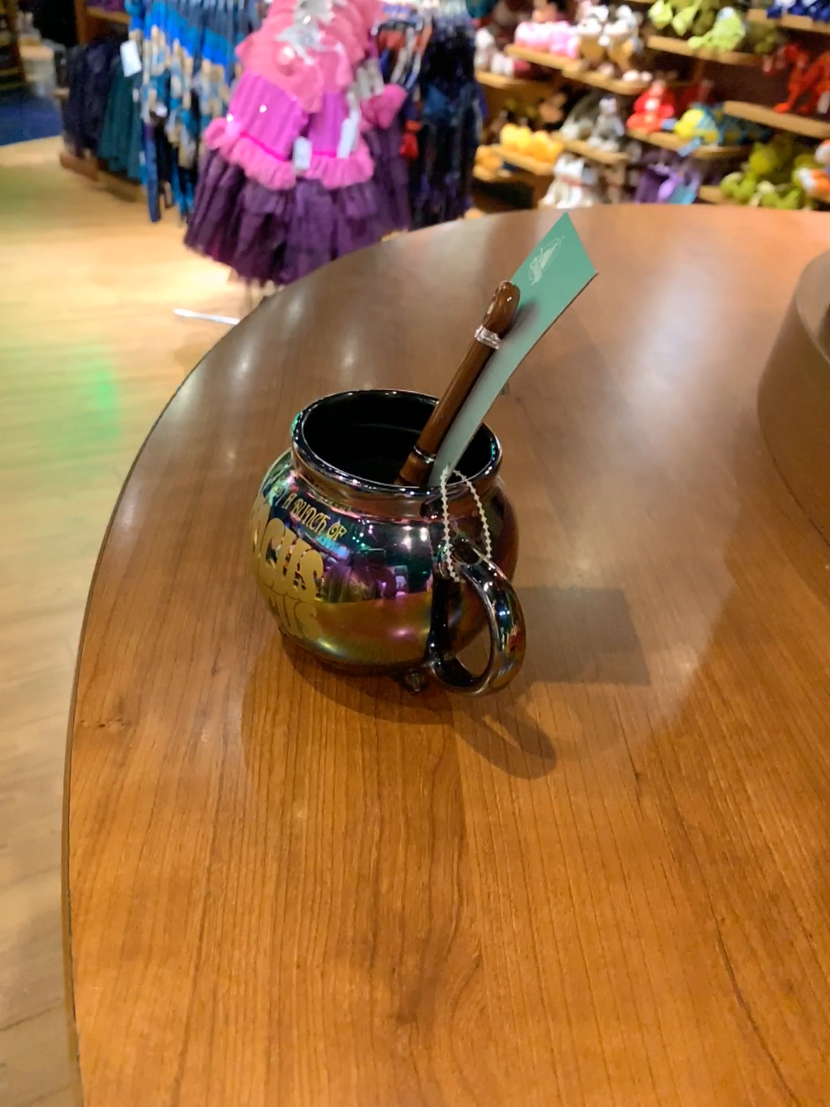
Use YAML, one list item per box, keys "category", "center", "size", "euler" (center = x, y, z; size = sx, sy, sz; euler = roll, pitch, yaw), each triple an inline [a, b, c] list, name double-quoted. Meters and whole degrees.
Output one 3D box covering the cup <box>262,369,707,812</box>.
- category: "cup"
  center: [0.016, 0.003, 0.334]
  size: [0.100, 0.089, 0.137]
  euler: [-16, 41, -30]
